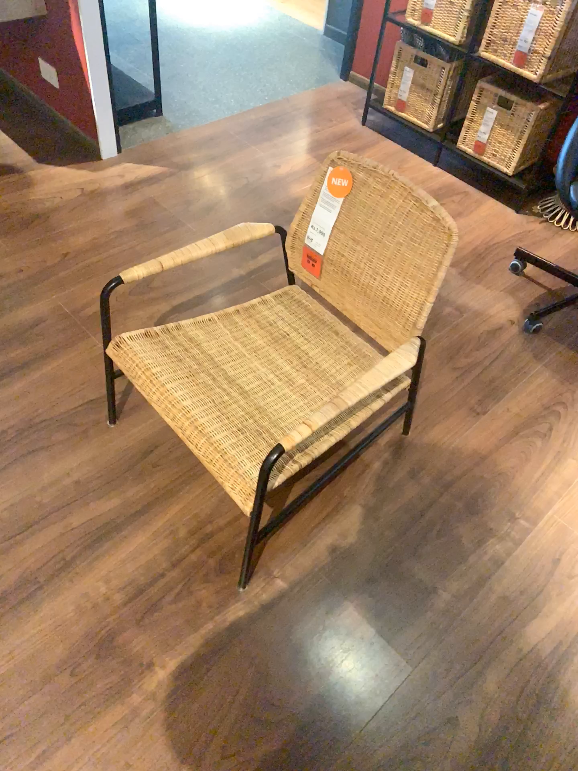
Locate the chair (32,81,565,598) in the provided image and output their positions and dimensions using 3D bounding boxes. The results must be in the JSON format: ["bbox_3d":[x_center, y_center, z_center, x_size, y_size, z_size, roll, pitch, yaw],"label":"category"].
[{"bbox_3d":[-0.005,-0.143,1.448,0.791,0.757,0.711,-31,60,-29],"label":"chair"}]
